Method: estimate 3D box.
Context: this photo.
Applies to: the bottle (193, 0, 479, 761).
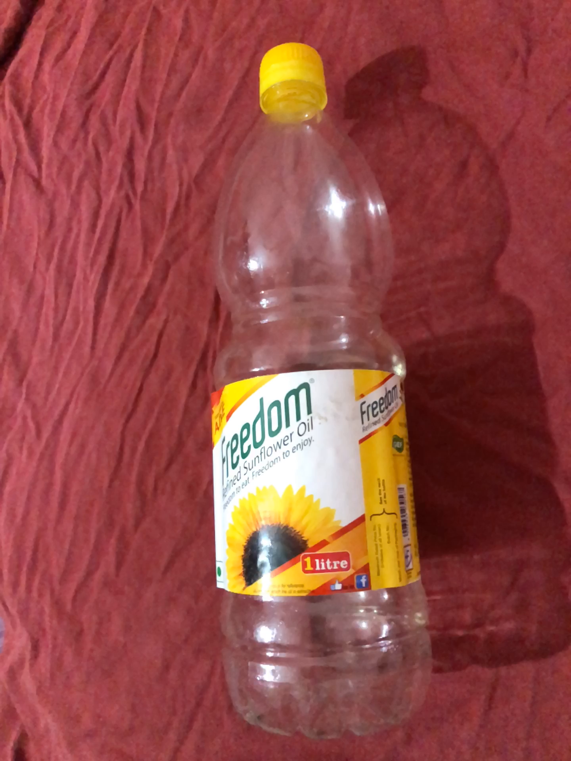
[{"bbox_3d":[0.019,-0.004,0.247,0.080,0.060,0.270,-6,82,19],"label":"bottle"}]
